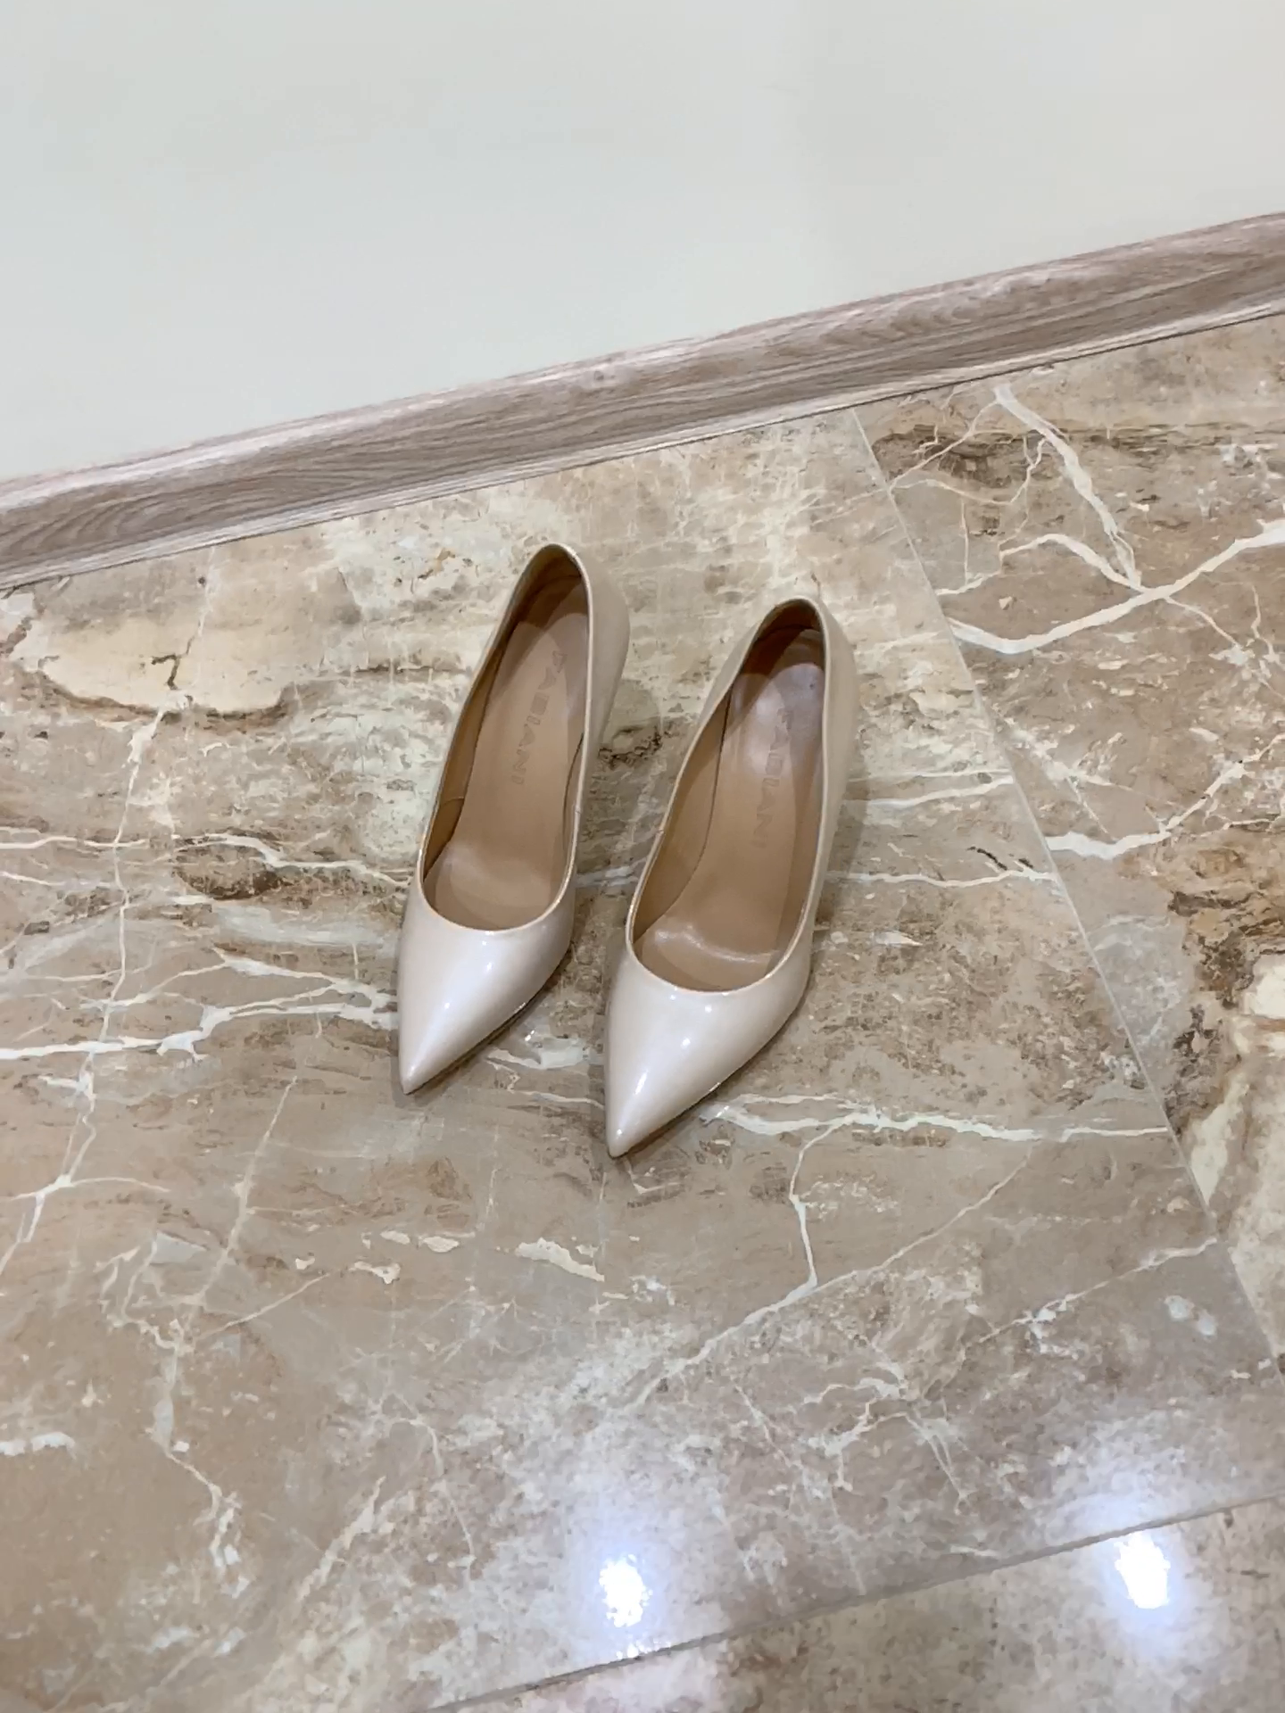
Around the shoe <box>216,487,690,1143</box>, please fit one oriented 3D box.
[{"bbox_3d":[-0.064,-0.021,0.559,0.090,0.120,0.241,16,63,13],"label":"shoe"}]

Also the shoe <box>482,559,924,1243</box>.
[{"bbox_3d":[0.033,0.014,0.531,0.090,0.110,0.241,16,63,13],"label":"shoe"}]
